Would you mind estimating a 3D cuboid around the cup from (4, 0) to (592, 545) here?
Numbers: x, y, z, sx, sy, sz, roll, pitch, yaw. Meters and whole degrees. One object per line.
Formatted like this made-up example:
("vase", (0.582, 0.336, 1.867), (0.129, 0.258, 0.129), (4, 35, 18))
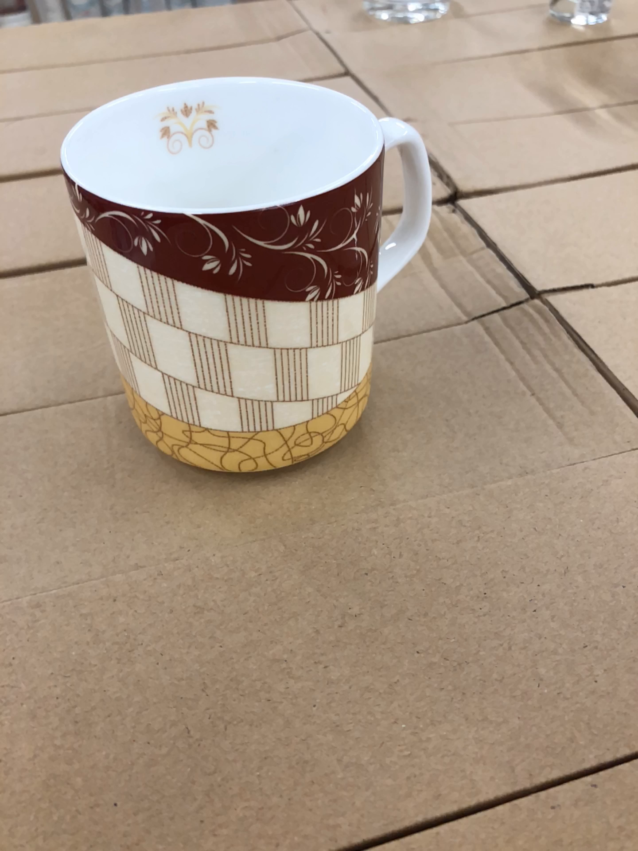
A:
("cup", (-0.001, -0.044, 0.176), (0.100, 0.080, 0.070), (-35, 54, -28))
